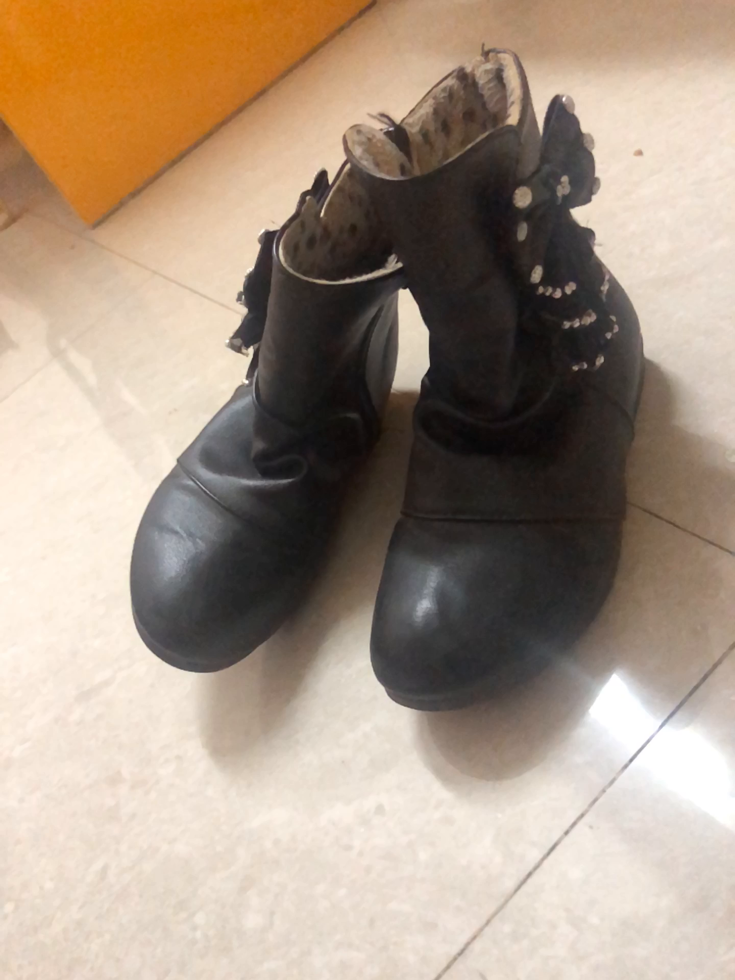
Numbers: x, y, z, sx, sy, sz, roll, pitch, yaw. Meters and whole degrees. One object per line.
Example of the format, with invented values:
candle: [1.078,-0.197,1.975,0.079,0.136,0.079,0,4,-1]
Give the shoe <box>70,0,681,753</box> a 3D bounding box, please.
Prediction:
shoe: [0.031,-0.050,0.285,0.090,0.139,0.221,-1,50,35]

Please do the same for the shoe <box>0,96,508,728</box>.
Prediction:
shoe: [-0.032,-0.031,0.336,0.090,0.139,0.201,23,59,8]
